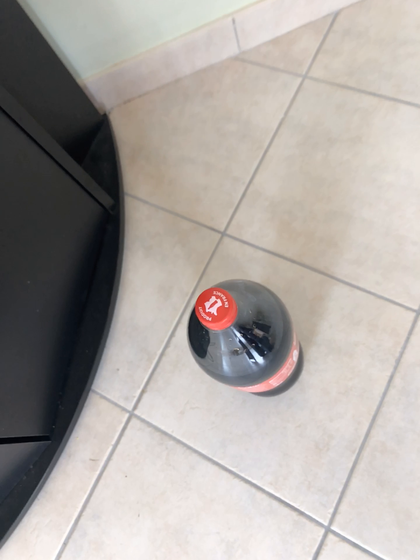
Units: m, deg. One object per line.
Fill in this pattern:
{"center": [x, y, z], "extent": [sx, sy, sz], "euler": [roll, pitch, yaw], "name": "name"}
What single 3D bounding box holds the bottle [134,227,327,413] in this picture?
{"center": [0.049, 0.065, 0.481], "extent": [0.110, 0.310, 0.100], "euler": [-4, 73, 13], "name": "bottle"}
